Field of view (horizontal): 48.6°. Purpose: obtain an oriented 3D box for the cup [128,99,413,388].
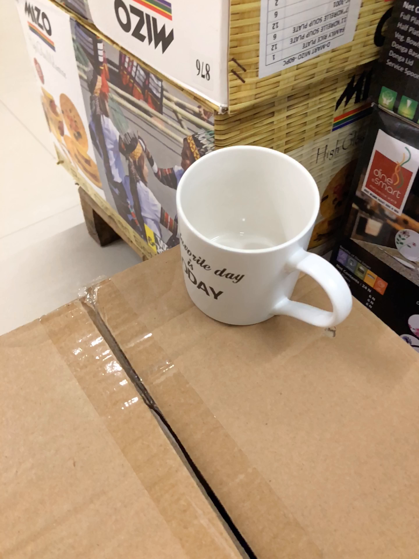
[{"bbox_3d":[0.030,-0.021,0.288,0.080,0.099,0.130,-40,66,-21],"label":"cup"}]
